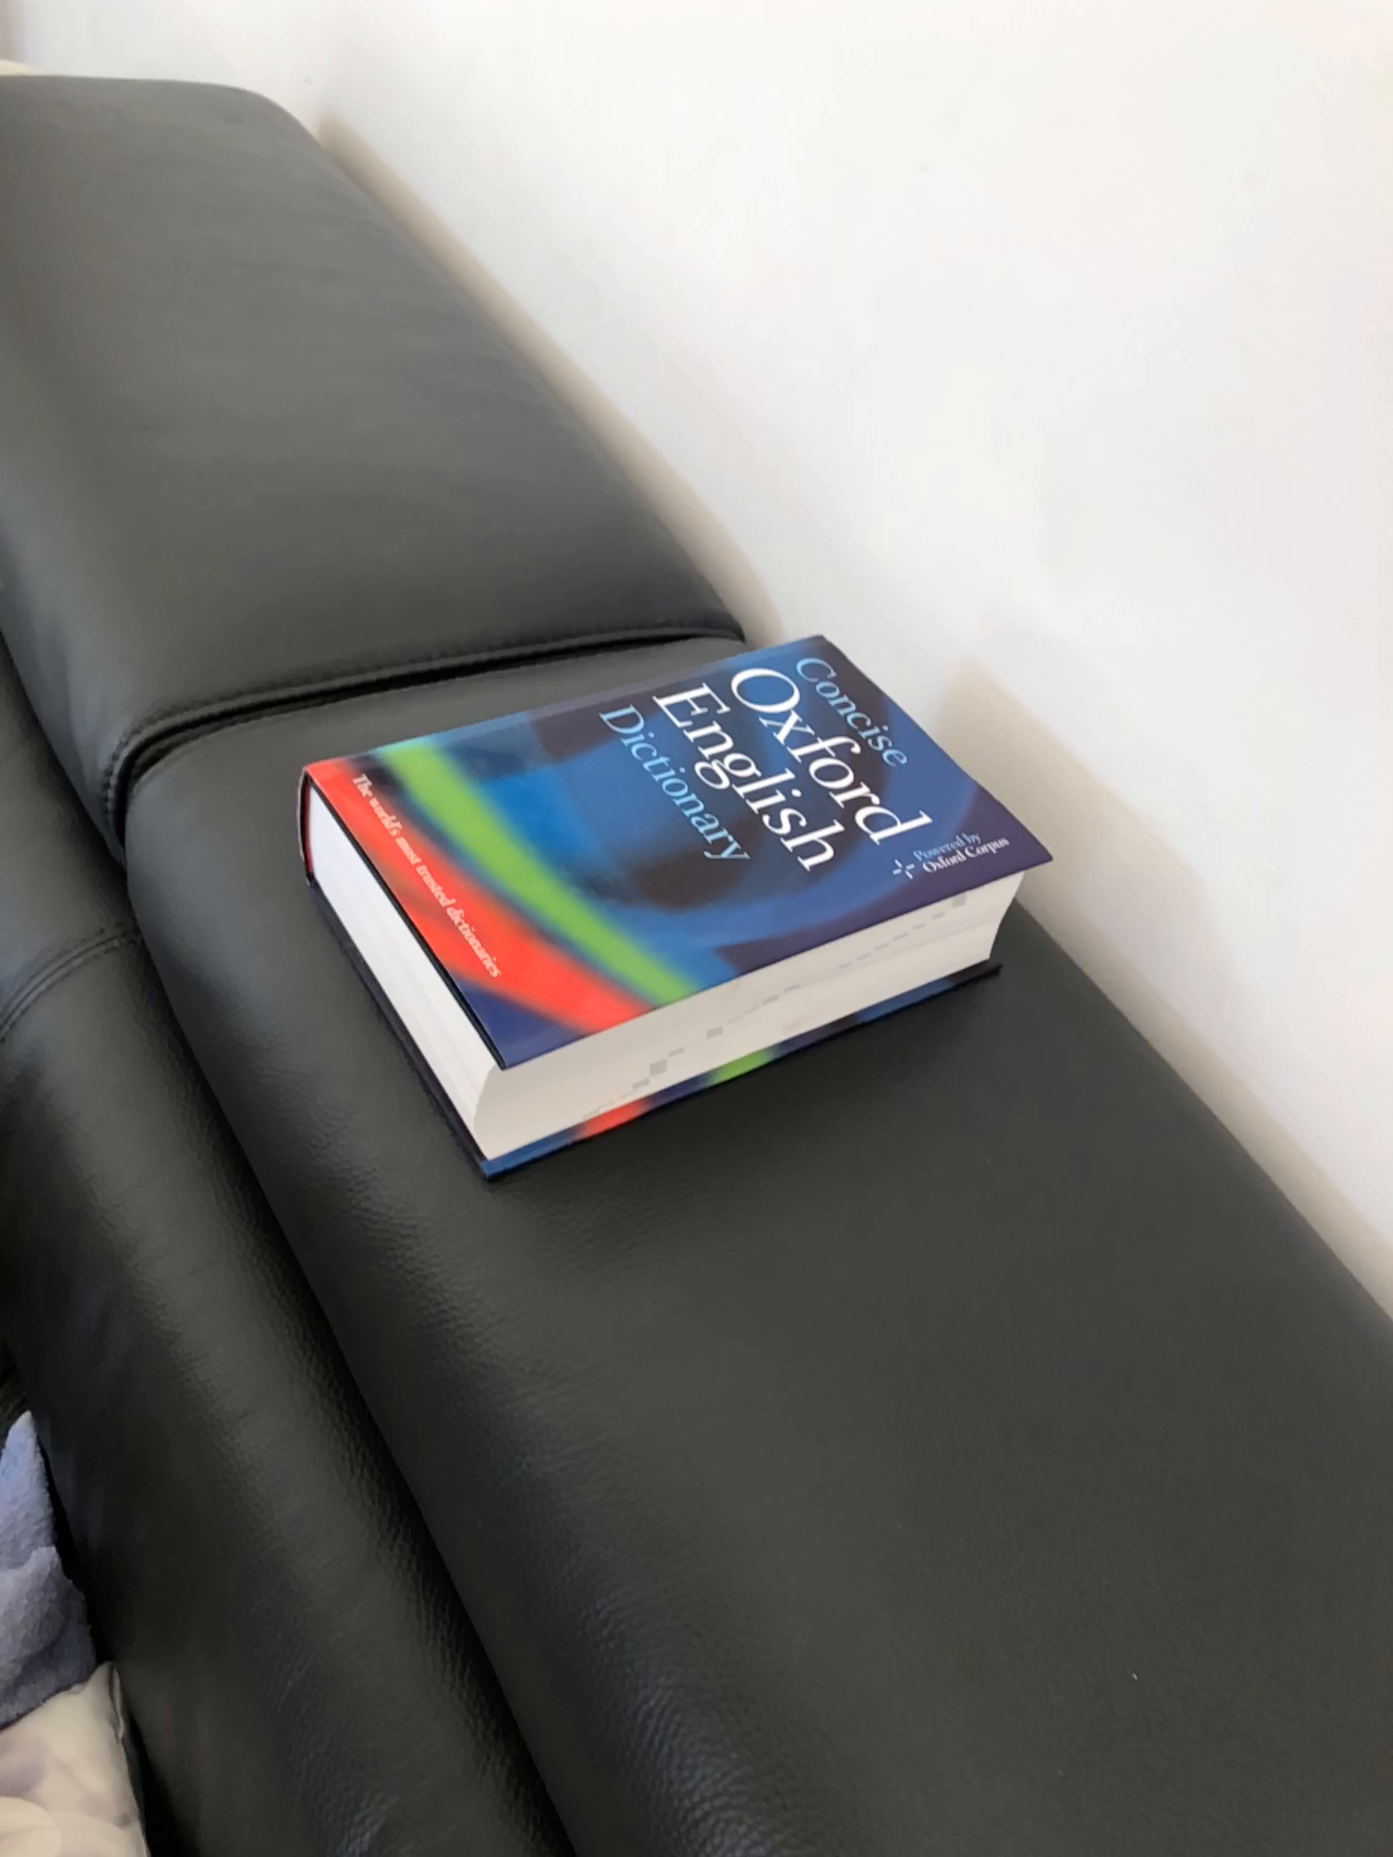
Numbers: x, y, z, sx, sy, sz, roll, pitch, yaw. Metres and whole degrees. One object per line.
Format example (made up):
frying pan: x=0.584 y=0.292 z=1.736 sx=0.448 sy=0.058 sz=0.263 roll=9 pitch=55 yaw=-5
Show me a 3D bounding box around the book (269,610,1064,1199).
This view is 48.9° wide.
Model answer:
book: x=-0.012 y=-0.025 z=0.600 sx=0.251 sy=0.070 sz=0.170 roll=-19 pitch=53 yaw=-30
